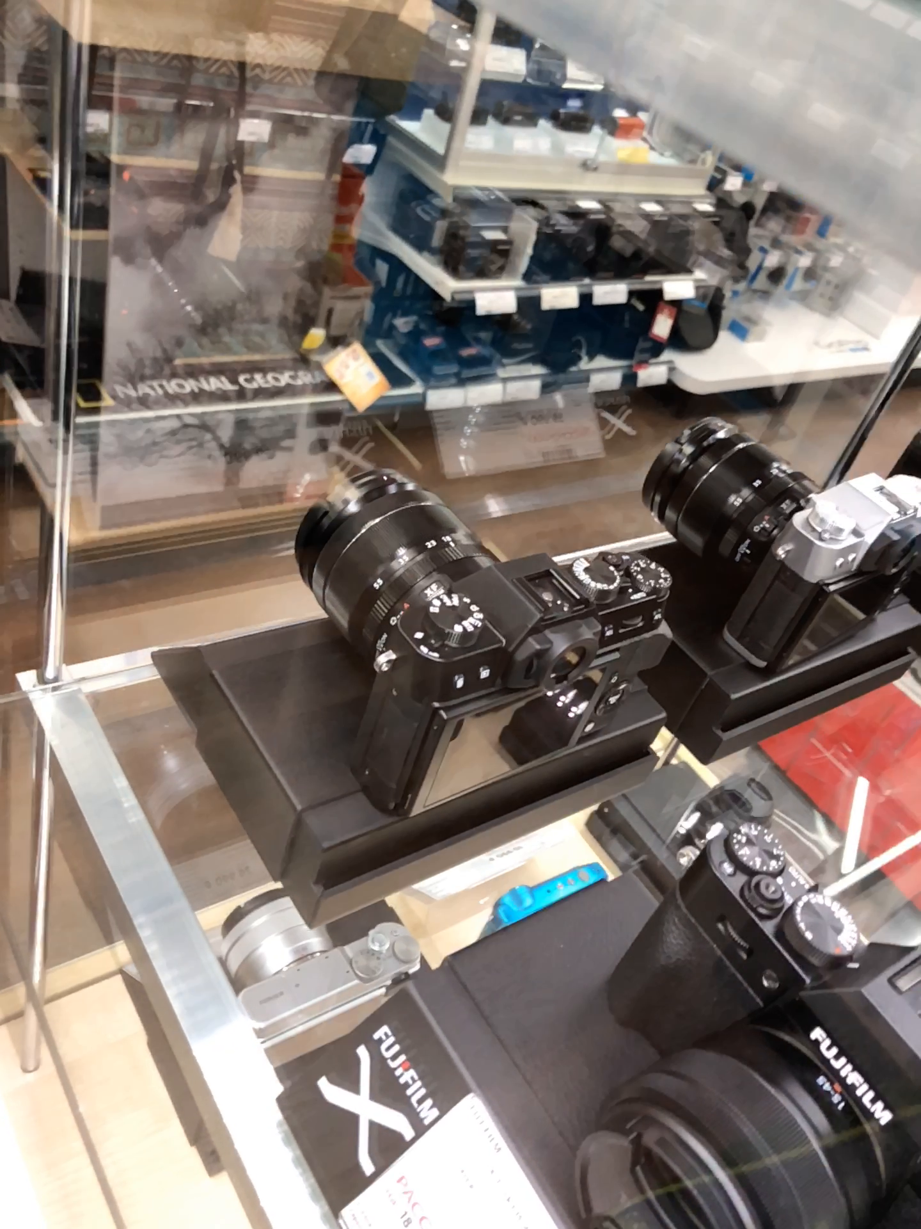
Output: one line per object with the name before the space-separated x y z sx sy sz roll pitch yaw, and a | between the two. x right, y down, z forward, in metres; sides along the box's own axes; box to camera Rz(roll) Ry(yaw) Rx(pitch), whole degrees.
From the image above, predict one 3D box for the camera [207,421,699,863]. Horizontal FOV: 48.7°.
camera | -0.008 0.001 0.381 0.121 0.081 0.121 -14 50 -36
